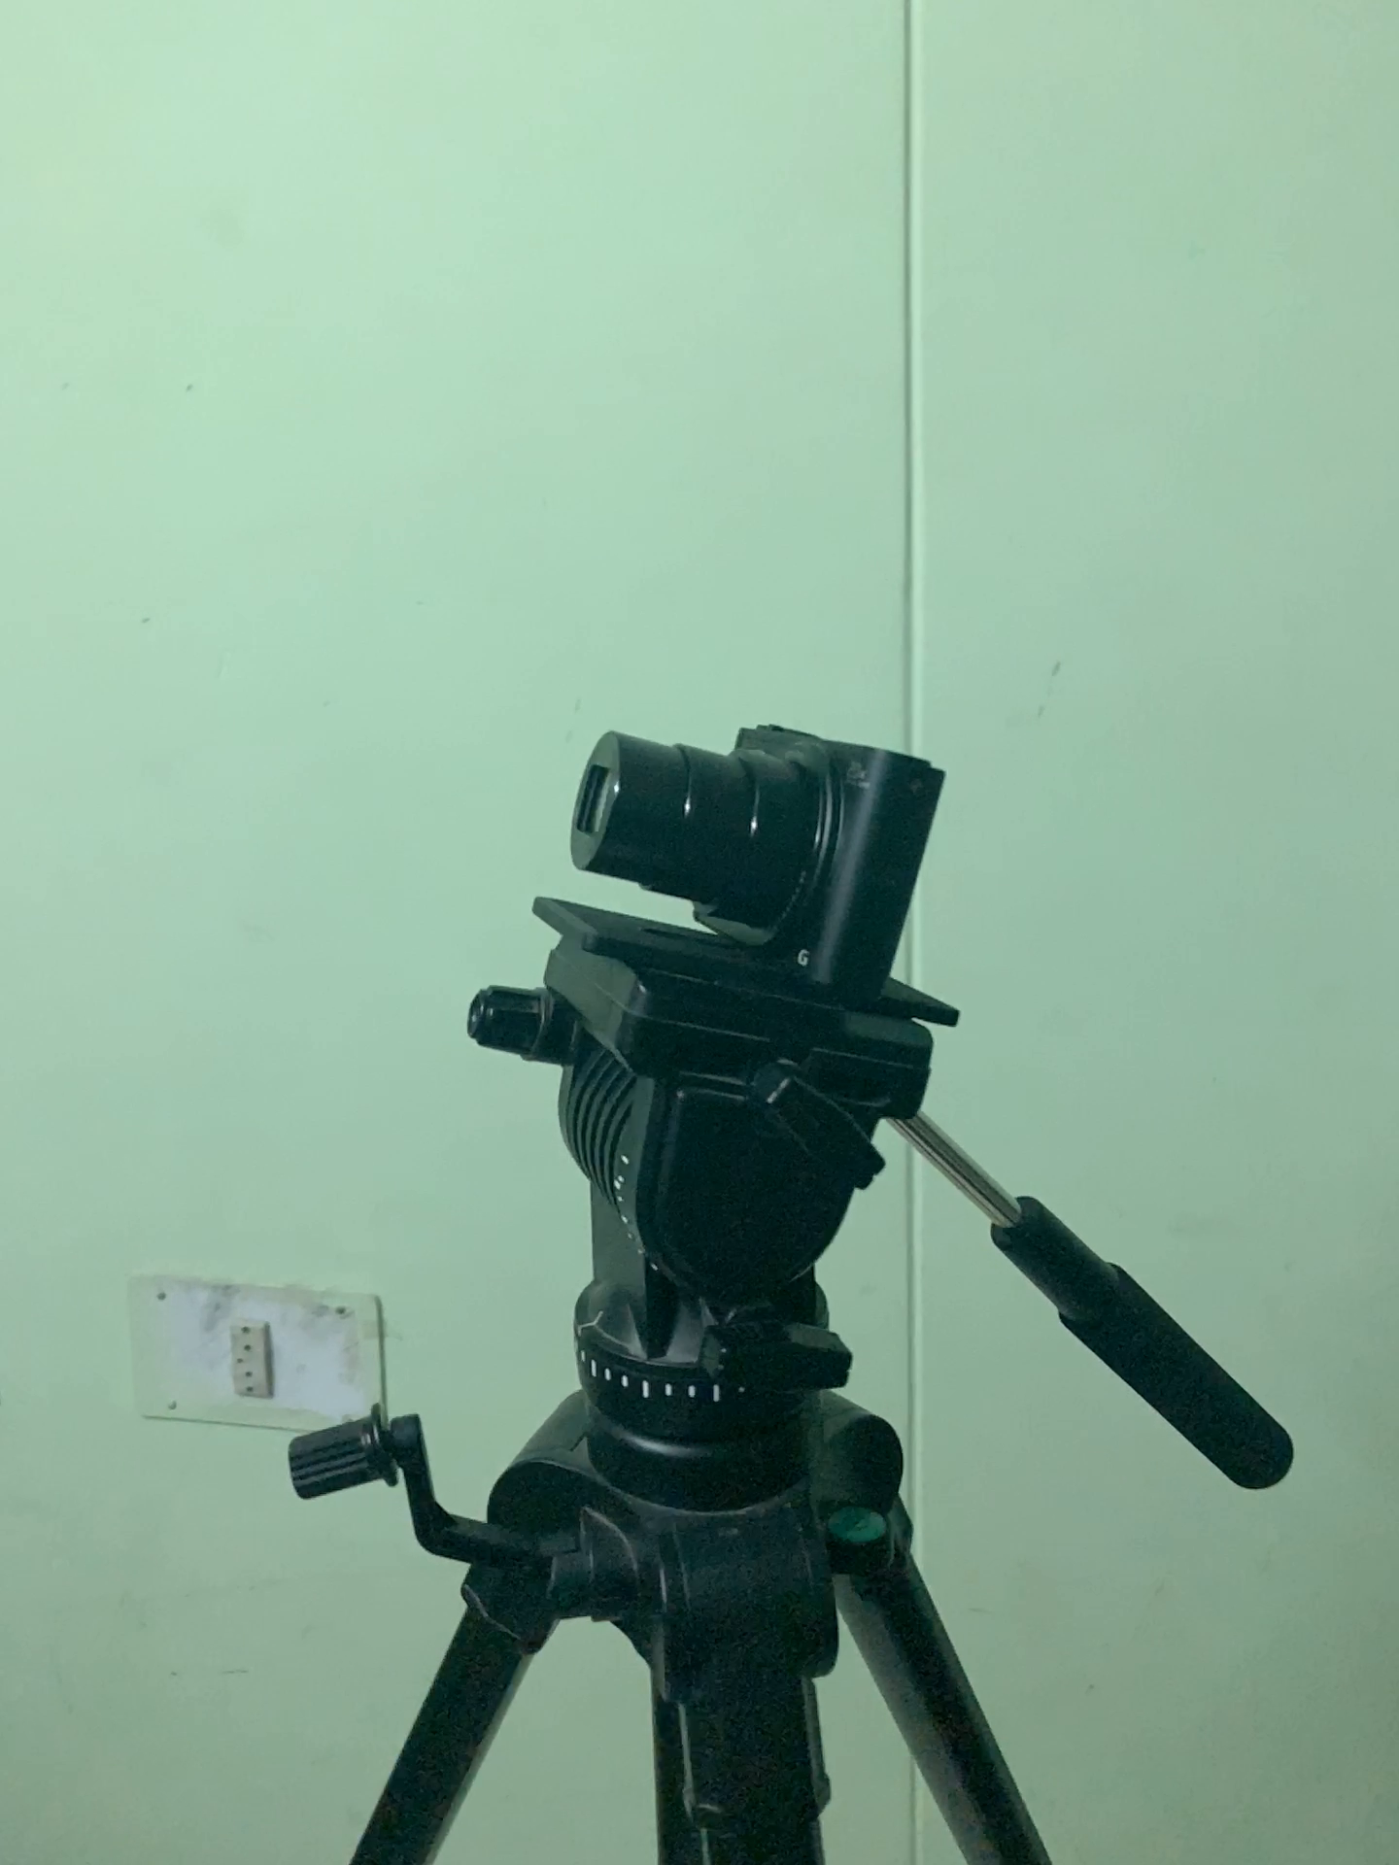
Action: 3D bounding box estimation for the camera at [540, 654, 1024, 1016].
[{"bbox_3d":[0.013,-0.027,0.341,0.067,0.060,0.102,13,6,-21],"label":"camera"}]
